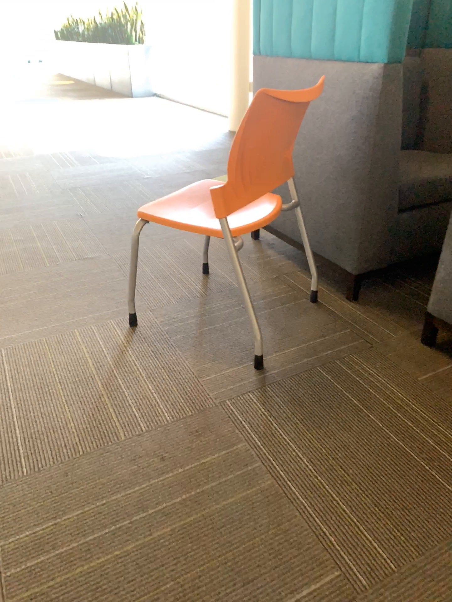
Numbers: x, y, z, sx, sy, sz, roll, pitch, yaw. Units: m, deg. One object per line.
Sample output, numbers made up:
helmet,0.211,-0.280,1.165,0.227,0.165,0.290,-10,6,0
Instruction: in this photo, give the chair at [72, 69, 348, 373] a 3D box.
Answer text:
chair,-0.012,-0.338,1.621,0.612,0.805,0.642,15,33,24
